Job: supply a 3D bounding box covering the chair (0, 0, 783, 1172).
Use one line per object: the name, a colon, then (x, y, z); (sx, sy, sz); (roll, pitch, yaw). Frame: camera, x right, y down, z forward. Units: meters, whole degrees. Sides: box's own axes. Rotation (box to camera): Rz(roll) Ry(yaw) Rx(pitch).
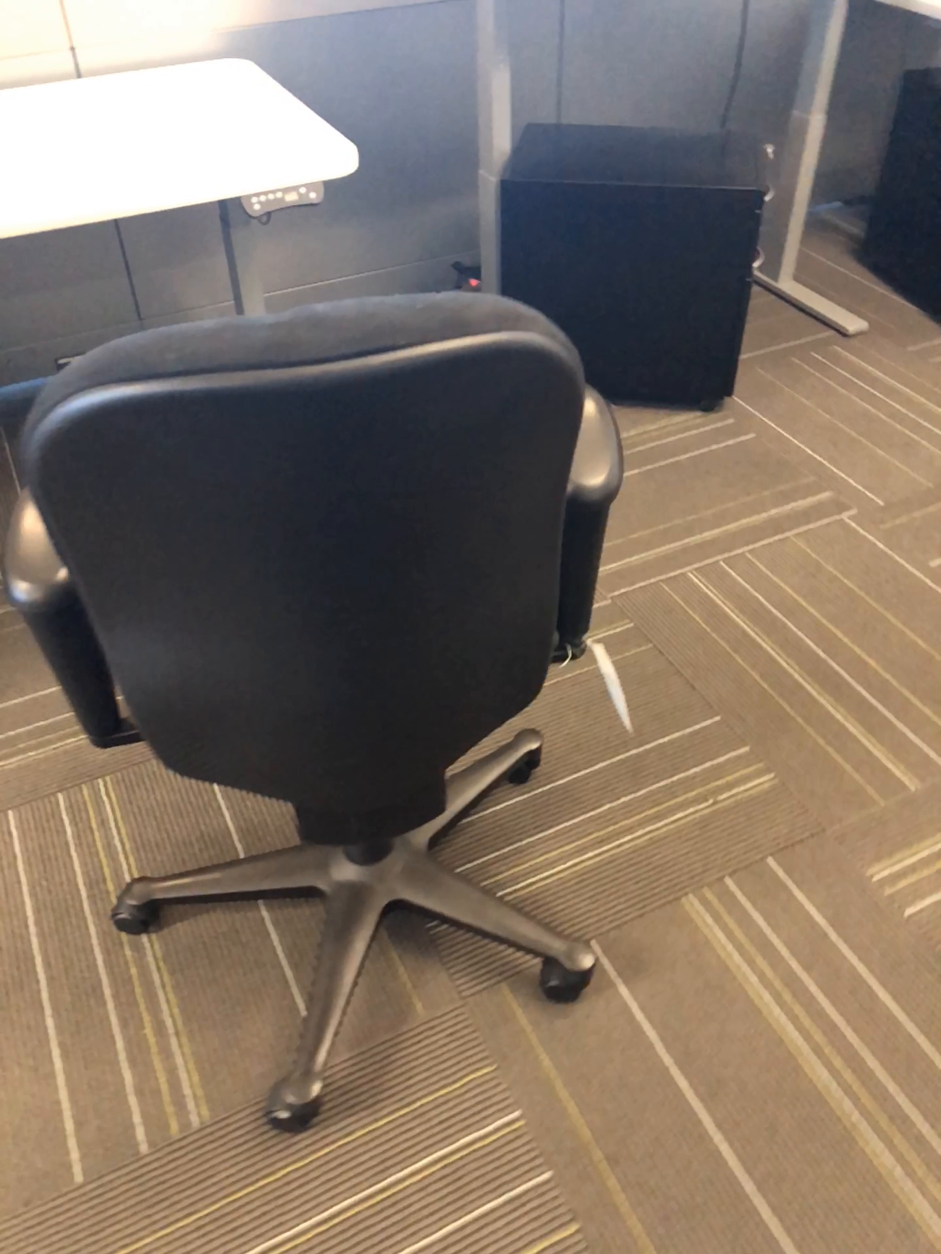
chair: (-0.213, -0.029, 1.117); (0.700, 0.995, 0.684); (-7, 41, -5)
